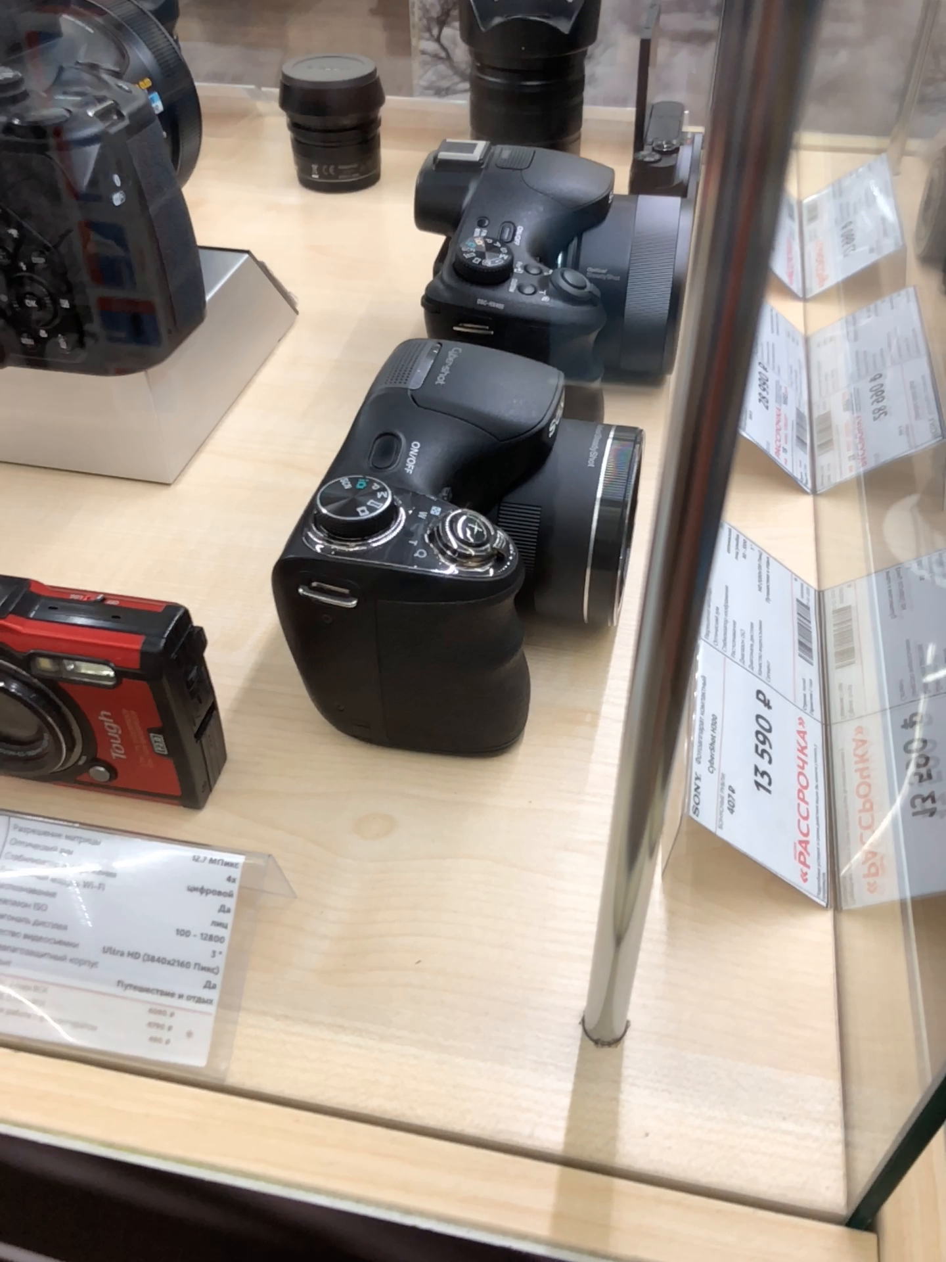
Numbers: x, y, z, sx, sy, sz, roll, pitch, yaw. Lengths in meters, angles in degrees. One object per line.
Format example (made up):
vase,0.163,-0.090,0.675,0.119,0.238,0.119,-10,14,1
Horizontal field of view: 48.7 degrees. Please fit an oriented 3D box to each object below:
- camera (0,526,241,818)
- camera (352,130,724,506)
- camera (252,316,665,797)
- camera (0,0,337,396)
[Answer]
camera,-0.127,0.012,0.288,0.111,0.069,0.026,7,43,8
camera,0.032,-0.136,0.440,0.125,0.097,0.124,8,43,10
camera,0.003,-0.029,0.324,0.091,0.078,0.124,8,43,10
camera,-0.140,-0.177,0.364,0.132,0.106,0.169,7,43,8
